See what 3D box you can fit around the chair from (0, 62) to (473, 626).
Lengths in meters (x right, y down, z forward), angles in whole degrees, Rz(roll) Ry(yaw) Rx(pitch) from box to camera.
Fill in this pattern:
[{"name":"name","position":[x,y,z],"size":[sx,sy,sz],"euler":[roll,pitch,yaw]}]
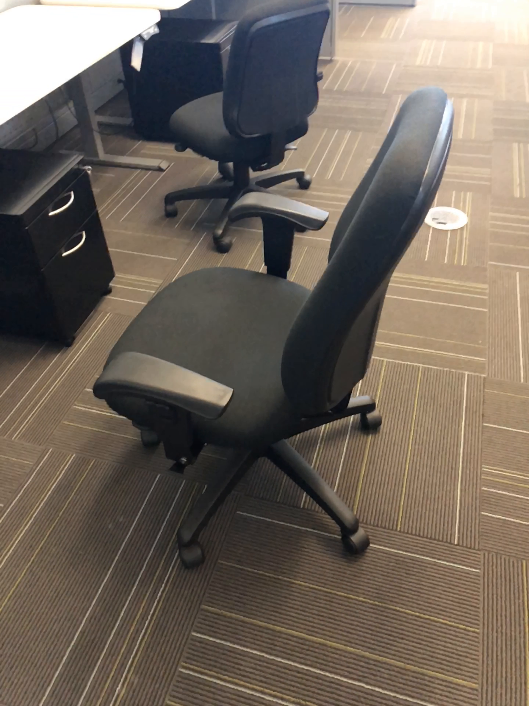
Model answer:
[{"name":"chair","position":[0.023,-0.030,1.343],"size":[0.681,0.955,0.743],"euler":[9,44,13]}]
